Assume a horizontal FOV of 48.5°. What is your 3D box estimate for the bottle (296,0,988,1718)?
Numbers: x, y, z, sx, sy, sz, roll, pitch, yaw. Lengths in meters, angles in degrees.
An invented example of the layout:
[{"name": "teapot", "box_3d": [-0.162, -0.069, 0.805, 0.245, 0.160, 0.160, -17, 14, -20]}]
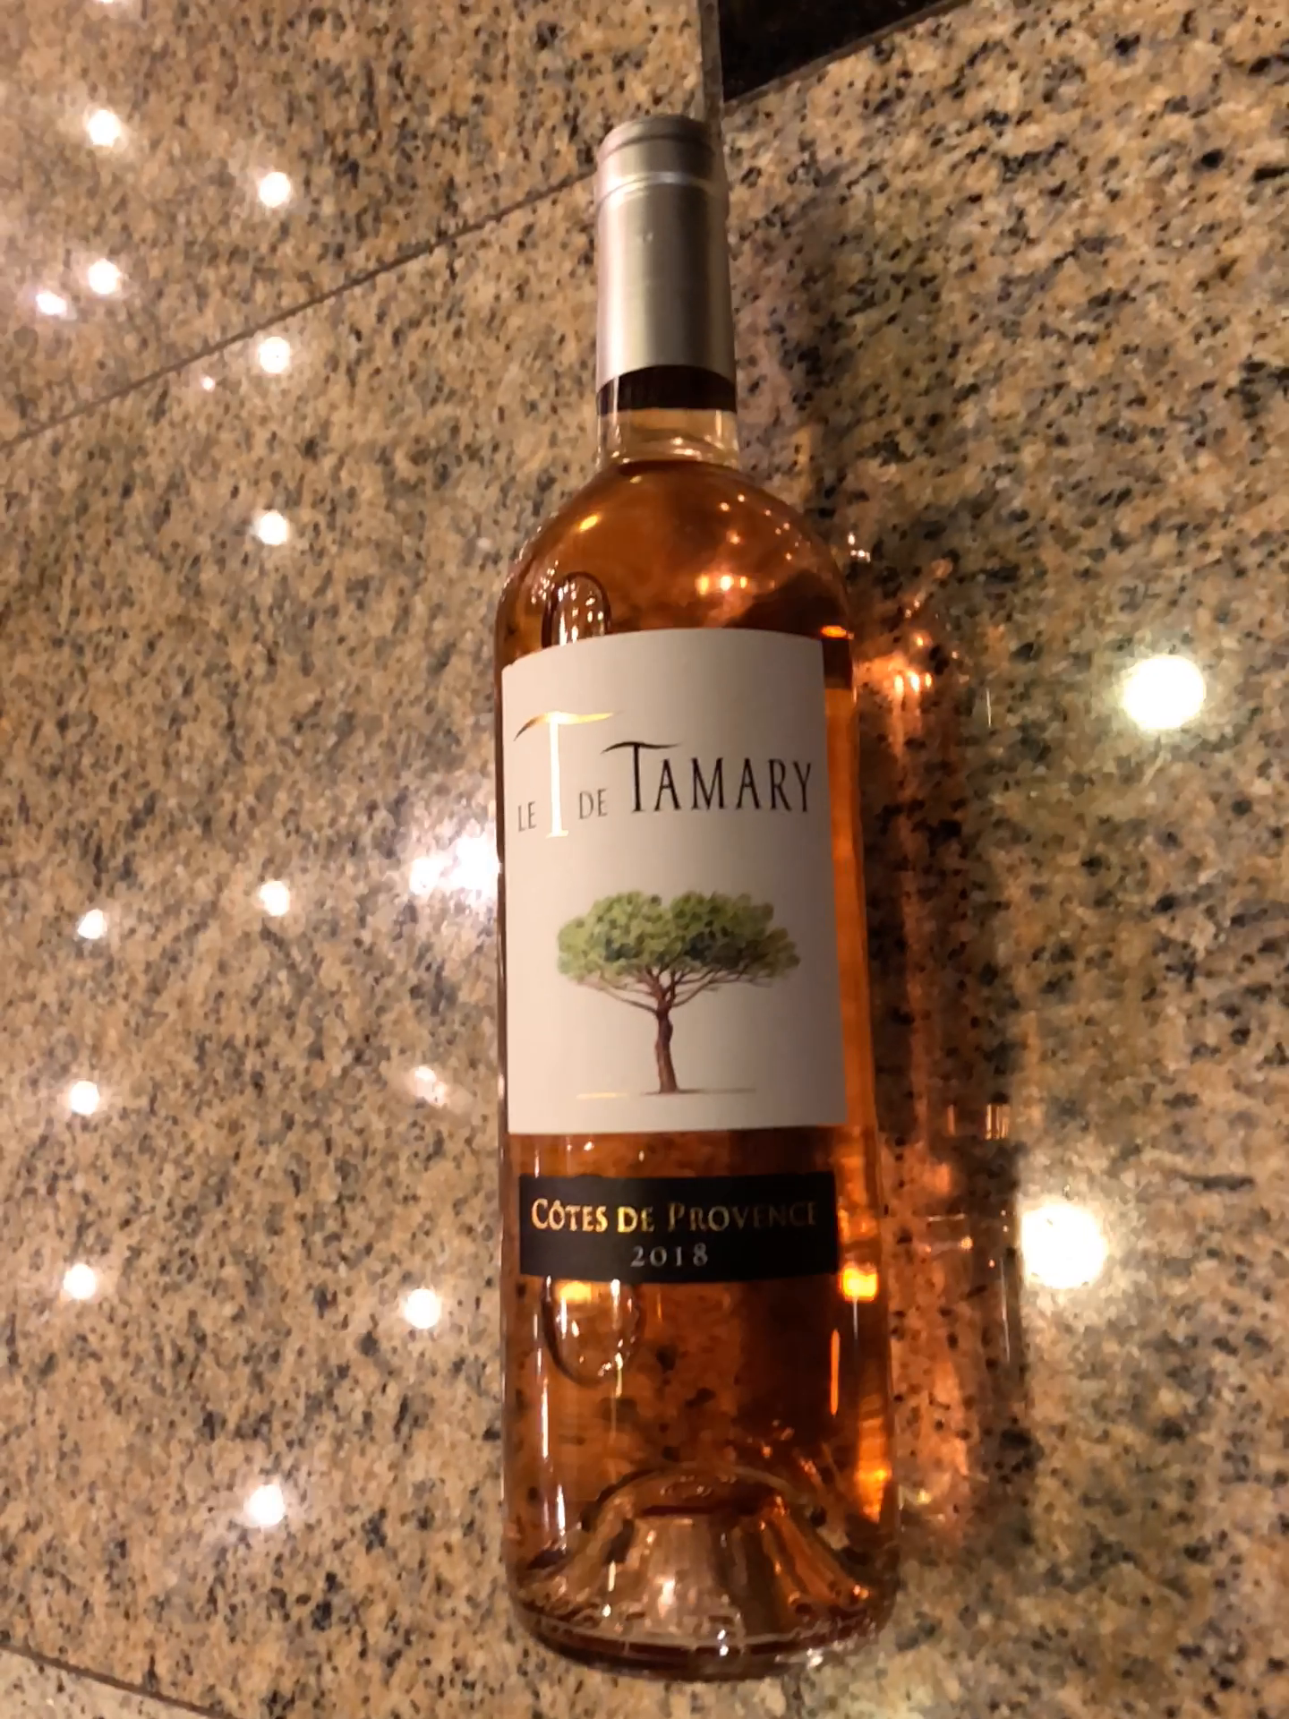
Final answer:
[{"name": "bottle", "box_3d": [-0.004, -0.030, 0.271, 0.090, 0.080, 0.320, -8, 80, 34]}]
